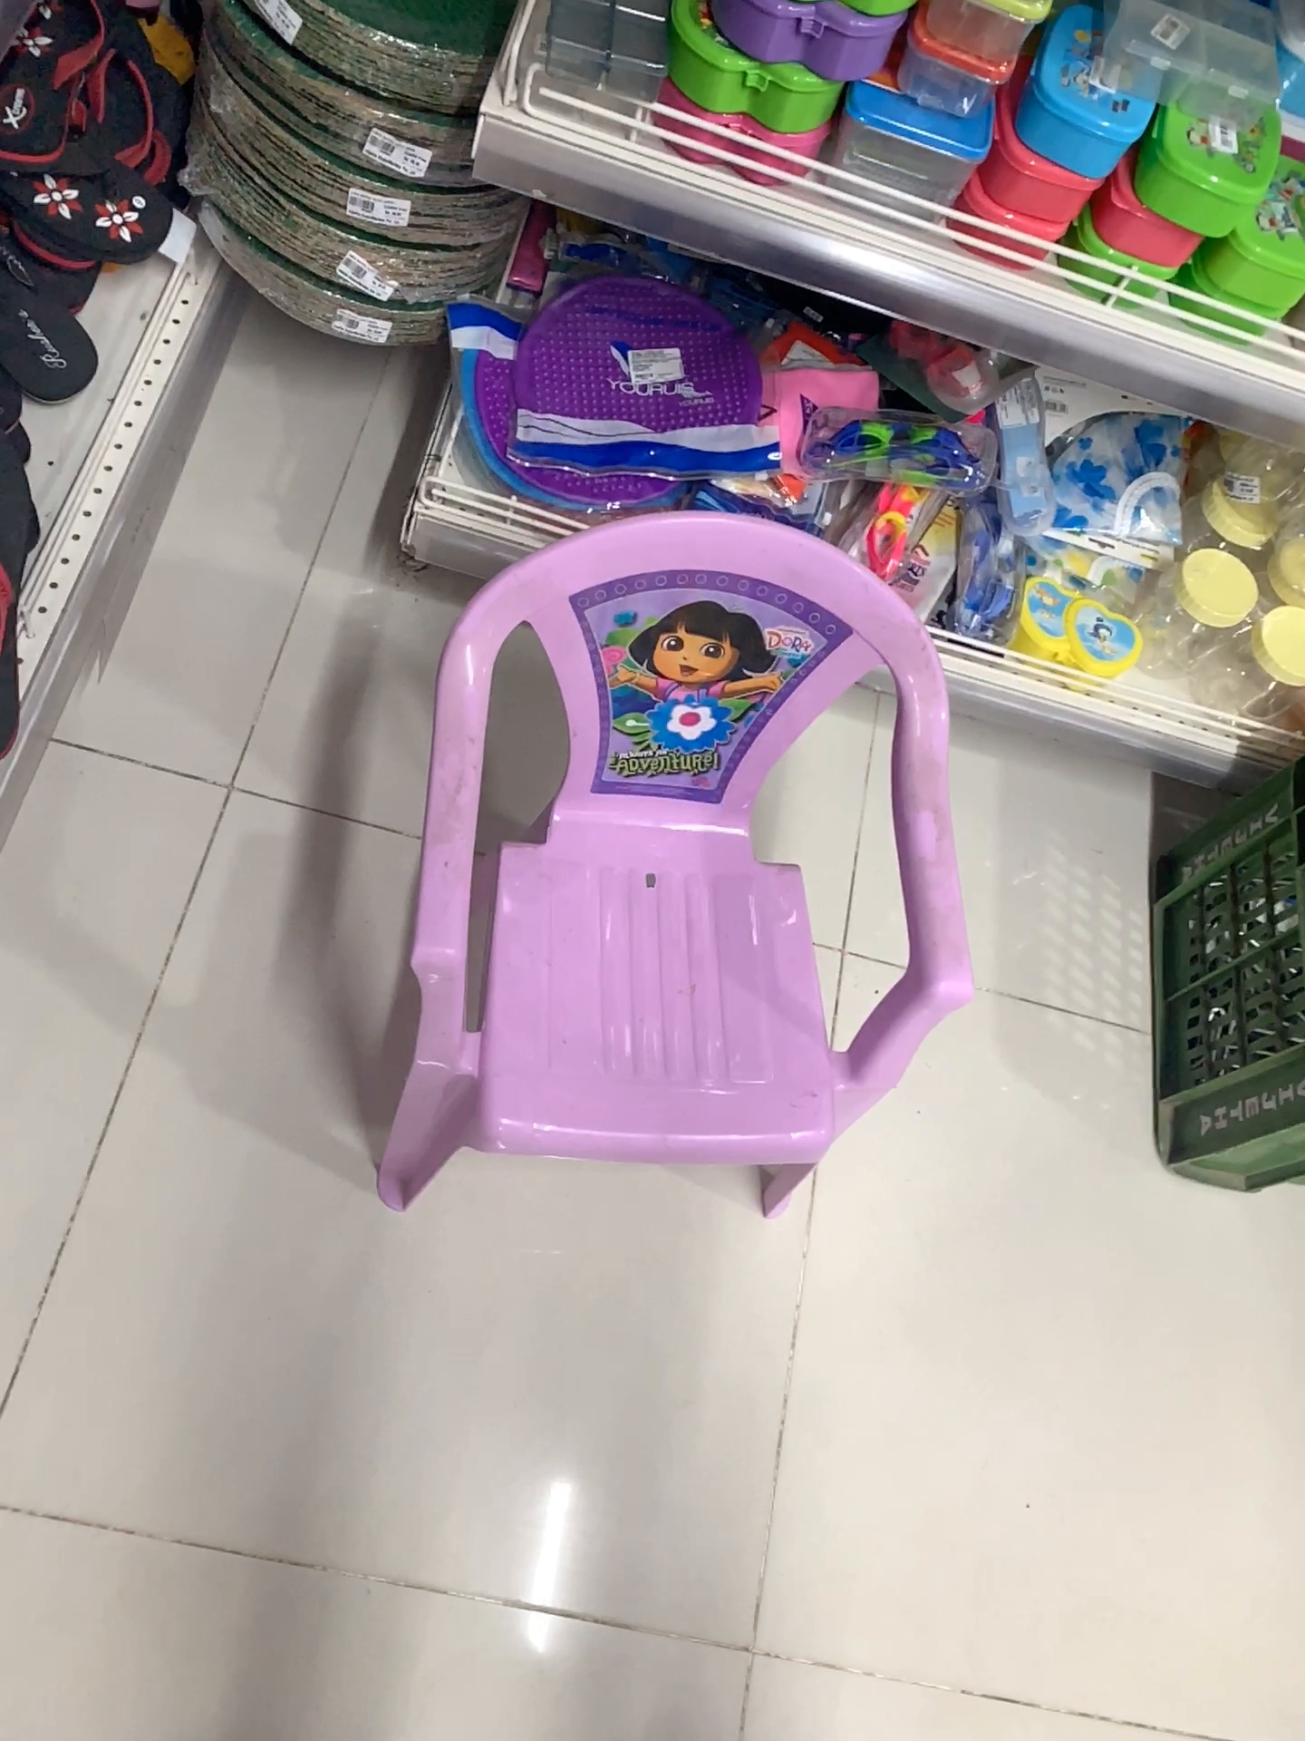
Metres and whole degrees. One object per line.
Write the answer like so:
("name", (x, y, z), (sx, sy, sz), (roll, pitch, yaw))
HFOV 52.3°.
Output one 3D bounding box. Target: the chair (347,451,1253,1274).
("chair", (0.032, 0.047, 0.825), (0.400, 0.429, 0.340), (5, 67, -12))
